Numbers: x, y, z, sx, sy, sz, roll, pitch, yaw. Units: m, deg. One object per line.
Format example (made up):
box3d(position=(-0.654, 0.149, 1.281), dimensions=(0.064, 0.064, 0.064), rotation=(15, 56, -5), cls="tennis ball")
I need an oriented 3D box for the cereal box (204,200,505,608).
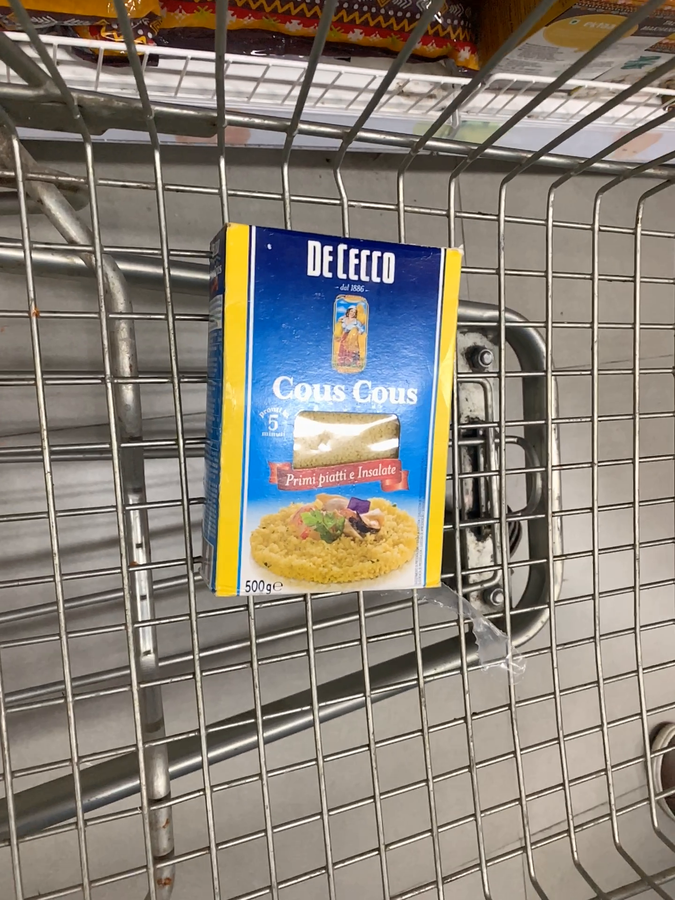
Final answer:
box3d(position=(0.005, -0.017, 0.314), dimensions=(0.120, 0.050, 0.160), rotation=(1, 94, -17), cls="cereal box")
